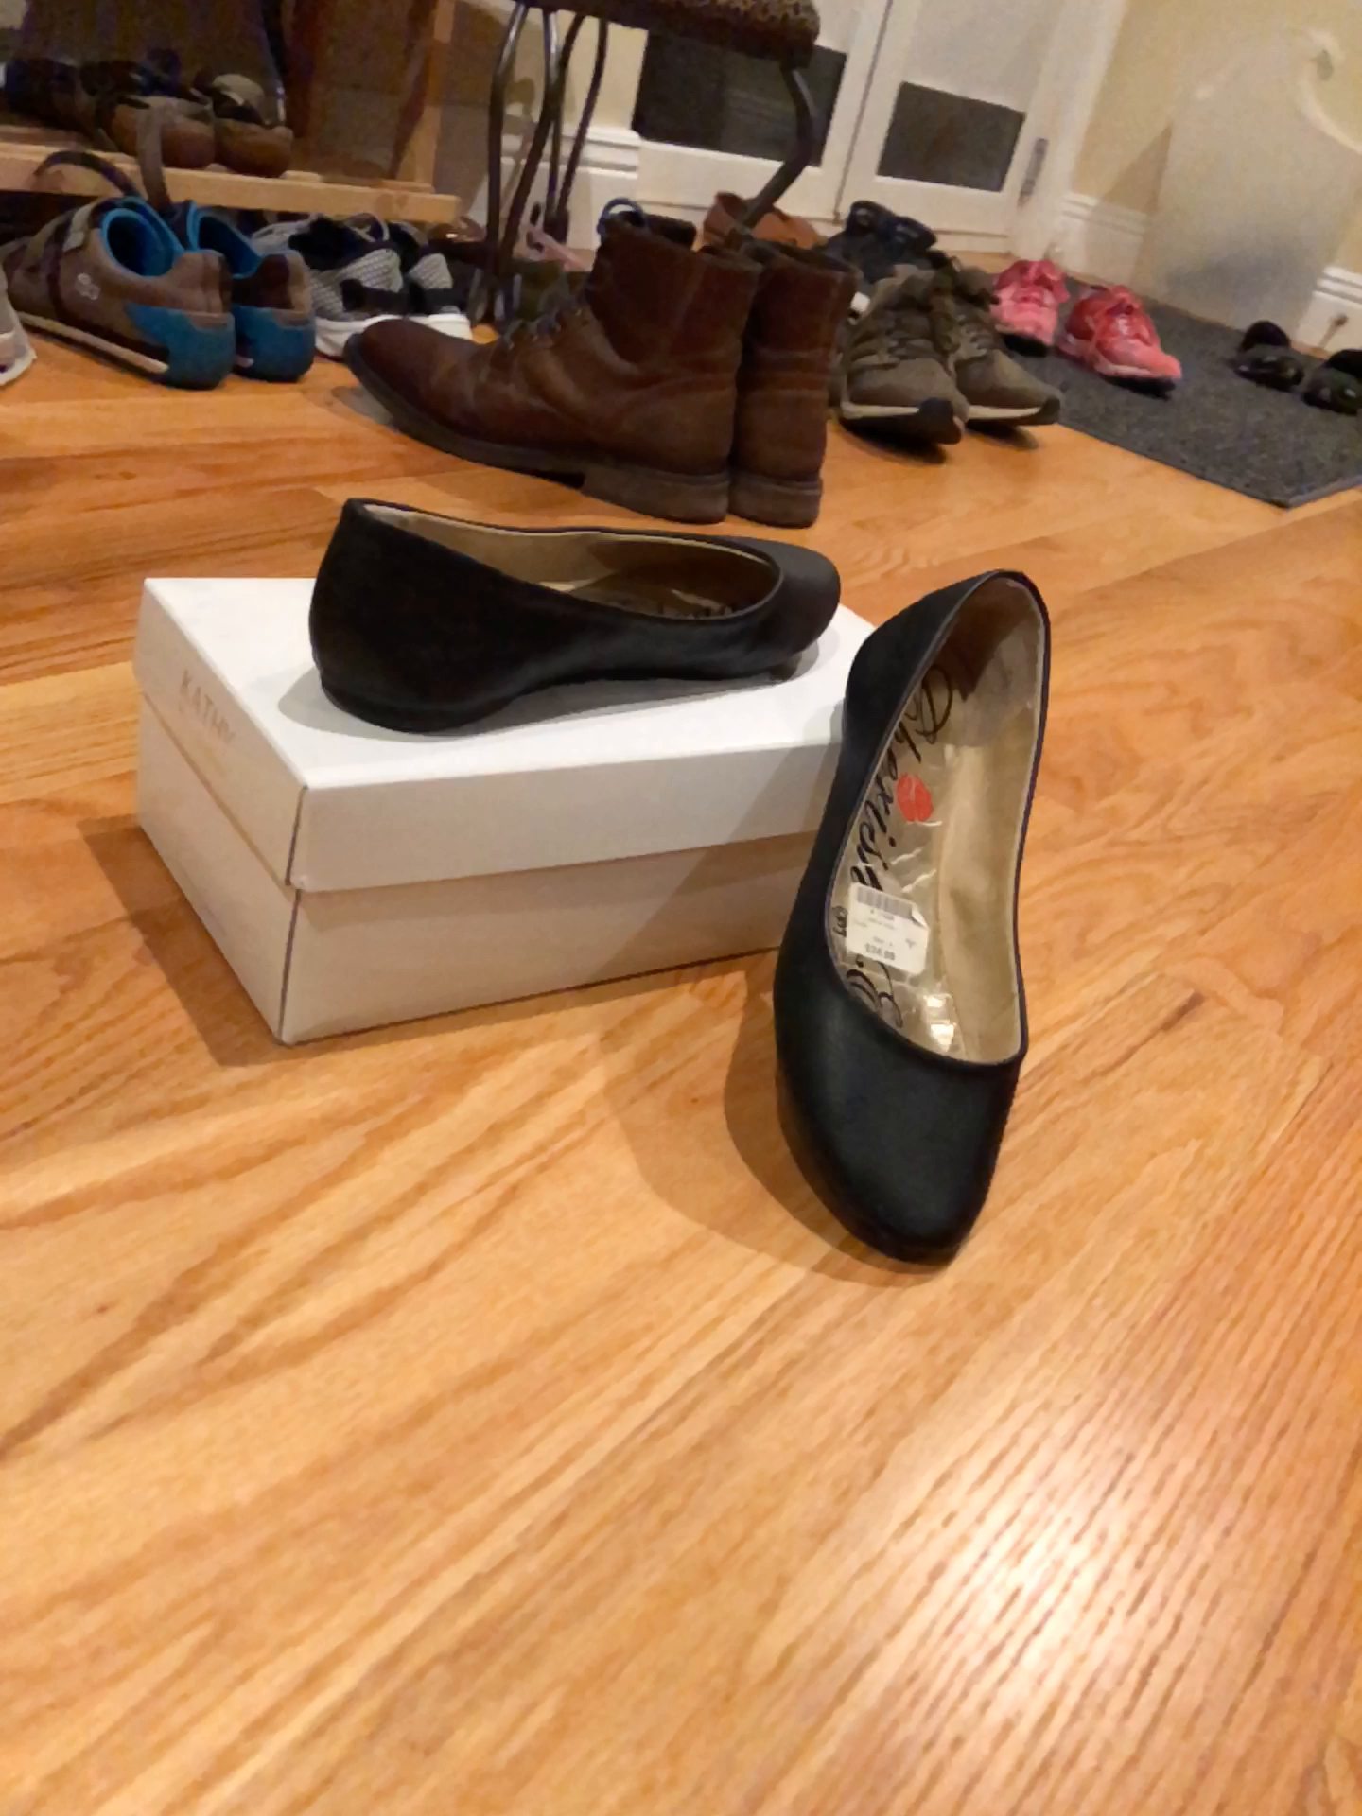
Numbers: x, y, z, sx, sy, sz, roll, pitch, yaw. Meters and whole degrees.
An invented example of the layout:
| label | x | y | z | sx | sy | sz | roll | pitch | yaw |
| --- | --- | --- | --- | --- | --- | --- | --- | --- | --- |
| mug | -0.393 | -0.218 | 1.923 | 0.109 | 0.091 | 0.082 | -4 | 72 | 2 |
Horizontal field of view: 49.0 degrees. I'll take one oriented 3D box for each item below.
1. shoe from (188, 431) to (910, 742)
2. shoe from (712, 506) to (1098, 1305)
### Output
| label | x | y | z | sx | sy | sz | roll | pitch | yaw |
| --- | --- | --- | --- | --- | --- | --- | --- | --- | --- |
| shoe | -0.033 | -0.117 | 0.501 | 0.240 | 0.060 | 0.076 | -17 | 43 | -42 |
| shoe | 0.077 | -0.004 | 0.482 | 0.076 | 0.060 | 0.241 | 21 | 64 | -20 |
